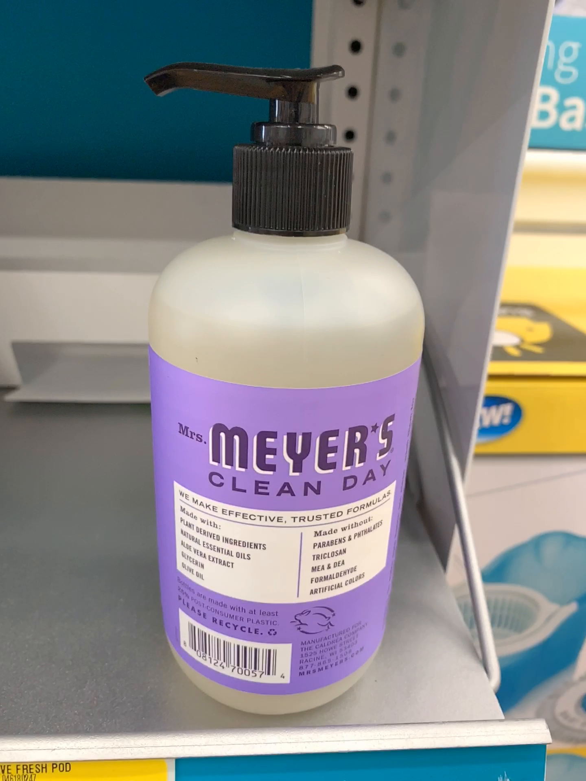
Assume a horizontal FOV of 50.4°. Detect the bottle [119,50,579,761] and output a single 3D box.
[{"bbox_3d":[0.002,0.005,0.166,0.080,0.159,0.070,-3,24,-12],"label":"bottle"}]
